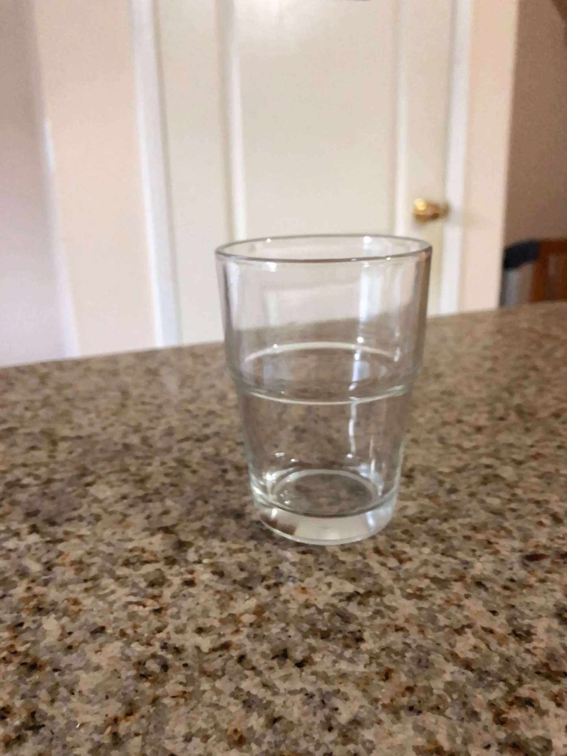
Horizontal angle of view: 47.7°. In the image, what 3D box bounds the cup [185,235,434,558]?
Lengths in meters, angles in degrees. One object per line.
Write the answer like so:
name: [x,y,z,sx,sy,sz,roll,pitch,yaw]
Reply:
cup: [0.014,0.000,0.246,0.070,0.100,0.070,-1,17,0]
